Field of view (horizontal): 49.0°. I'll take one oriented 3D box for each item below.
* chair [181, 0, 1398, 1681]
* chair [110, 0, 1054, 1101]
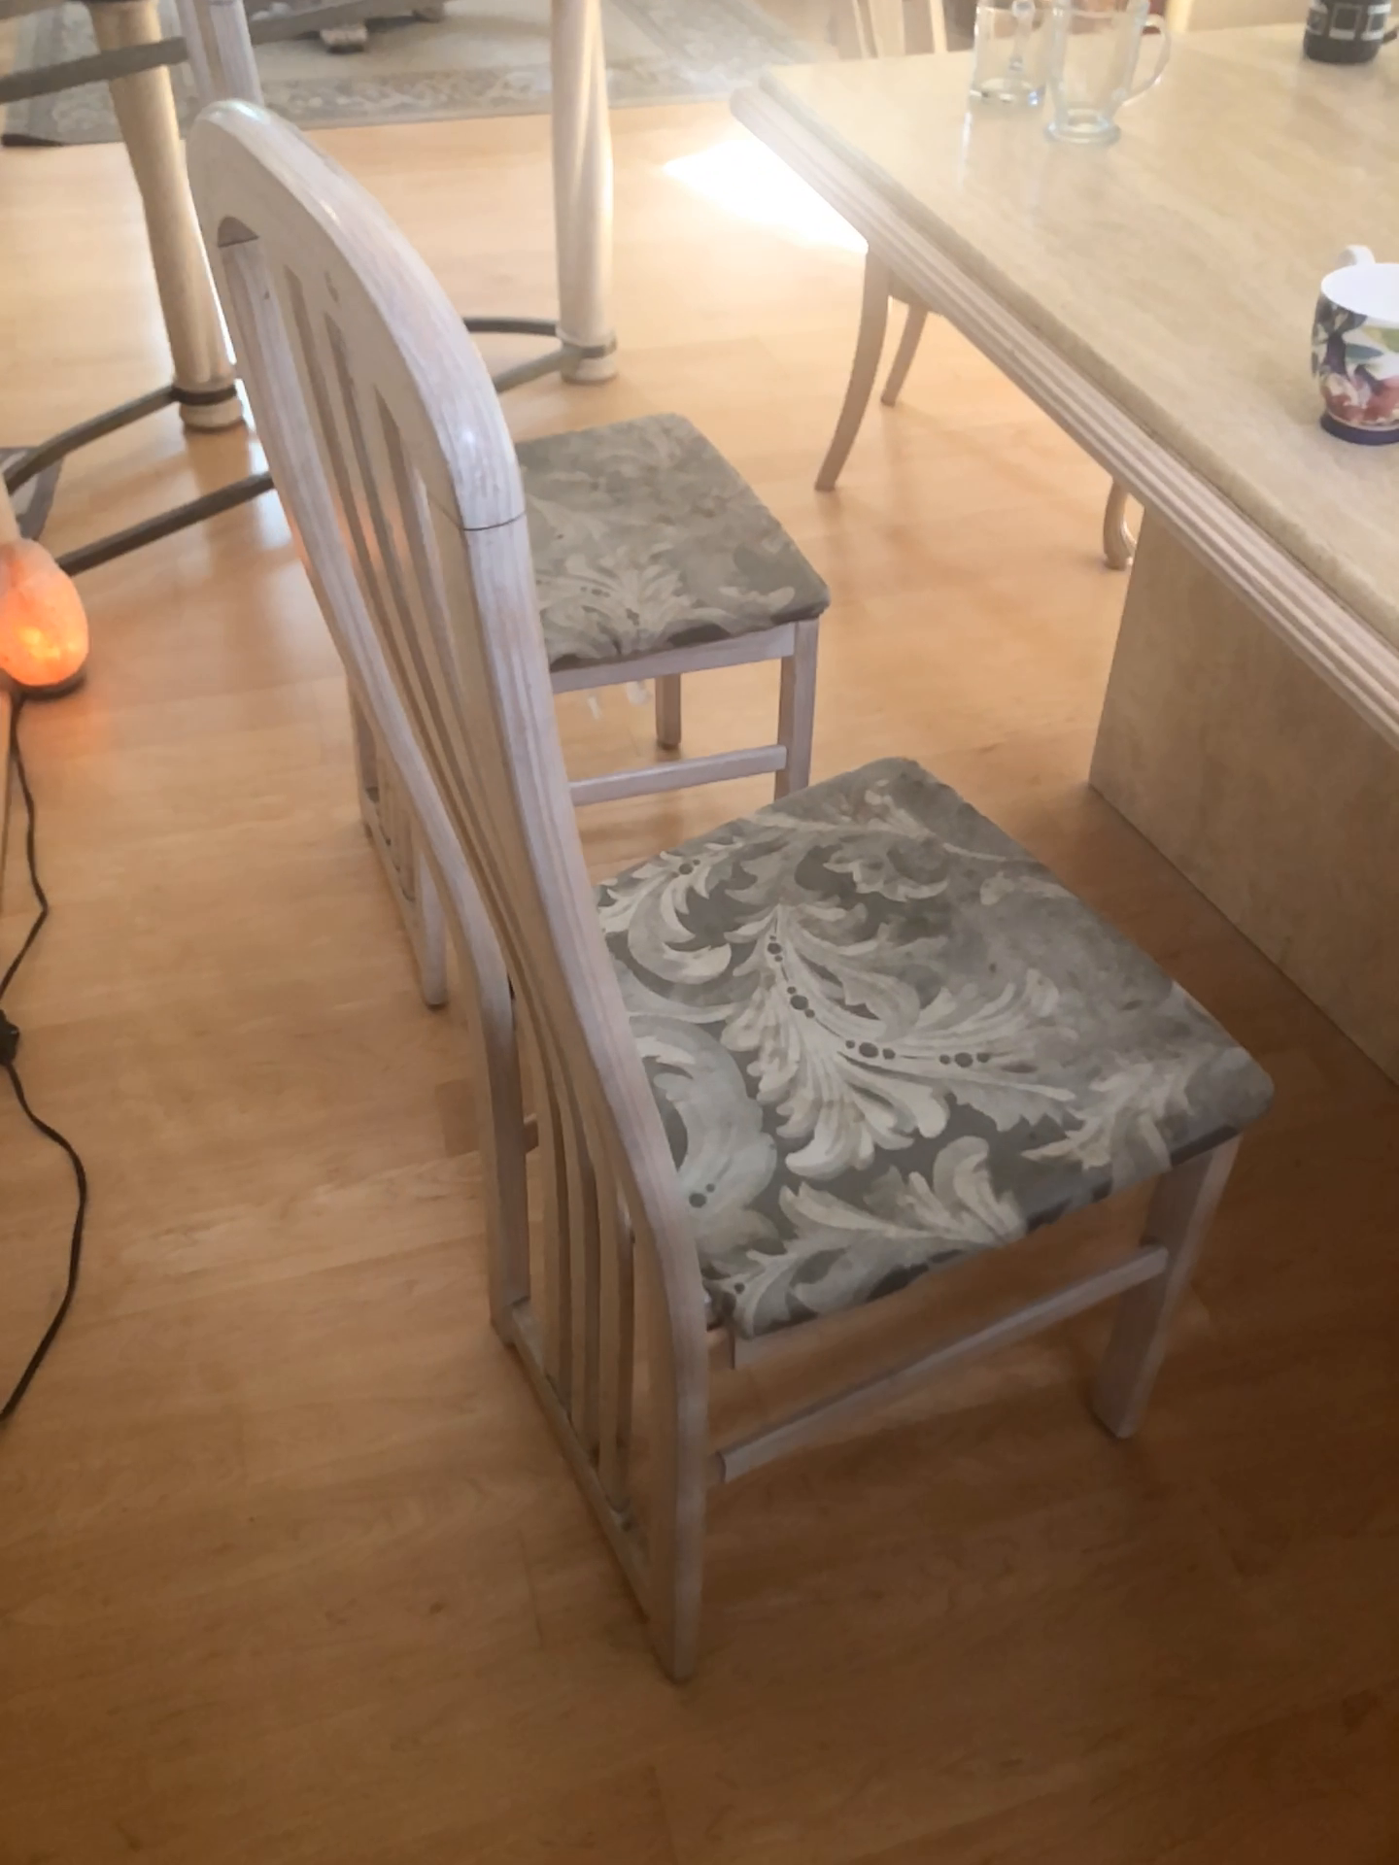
[{"bbox_3d":[0.062,-0.035,1.139,0.562,1.140,0.483,-16,44,-19],"label":"chair"},{"bbox_3d":[-0.104,-0.463,1.477,0.561,1.140,0.483,-14,44,-14],"label":"chair"}]
